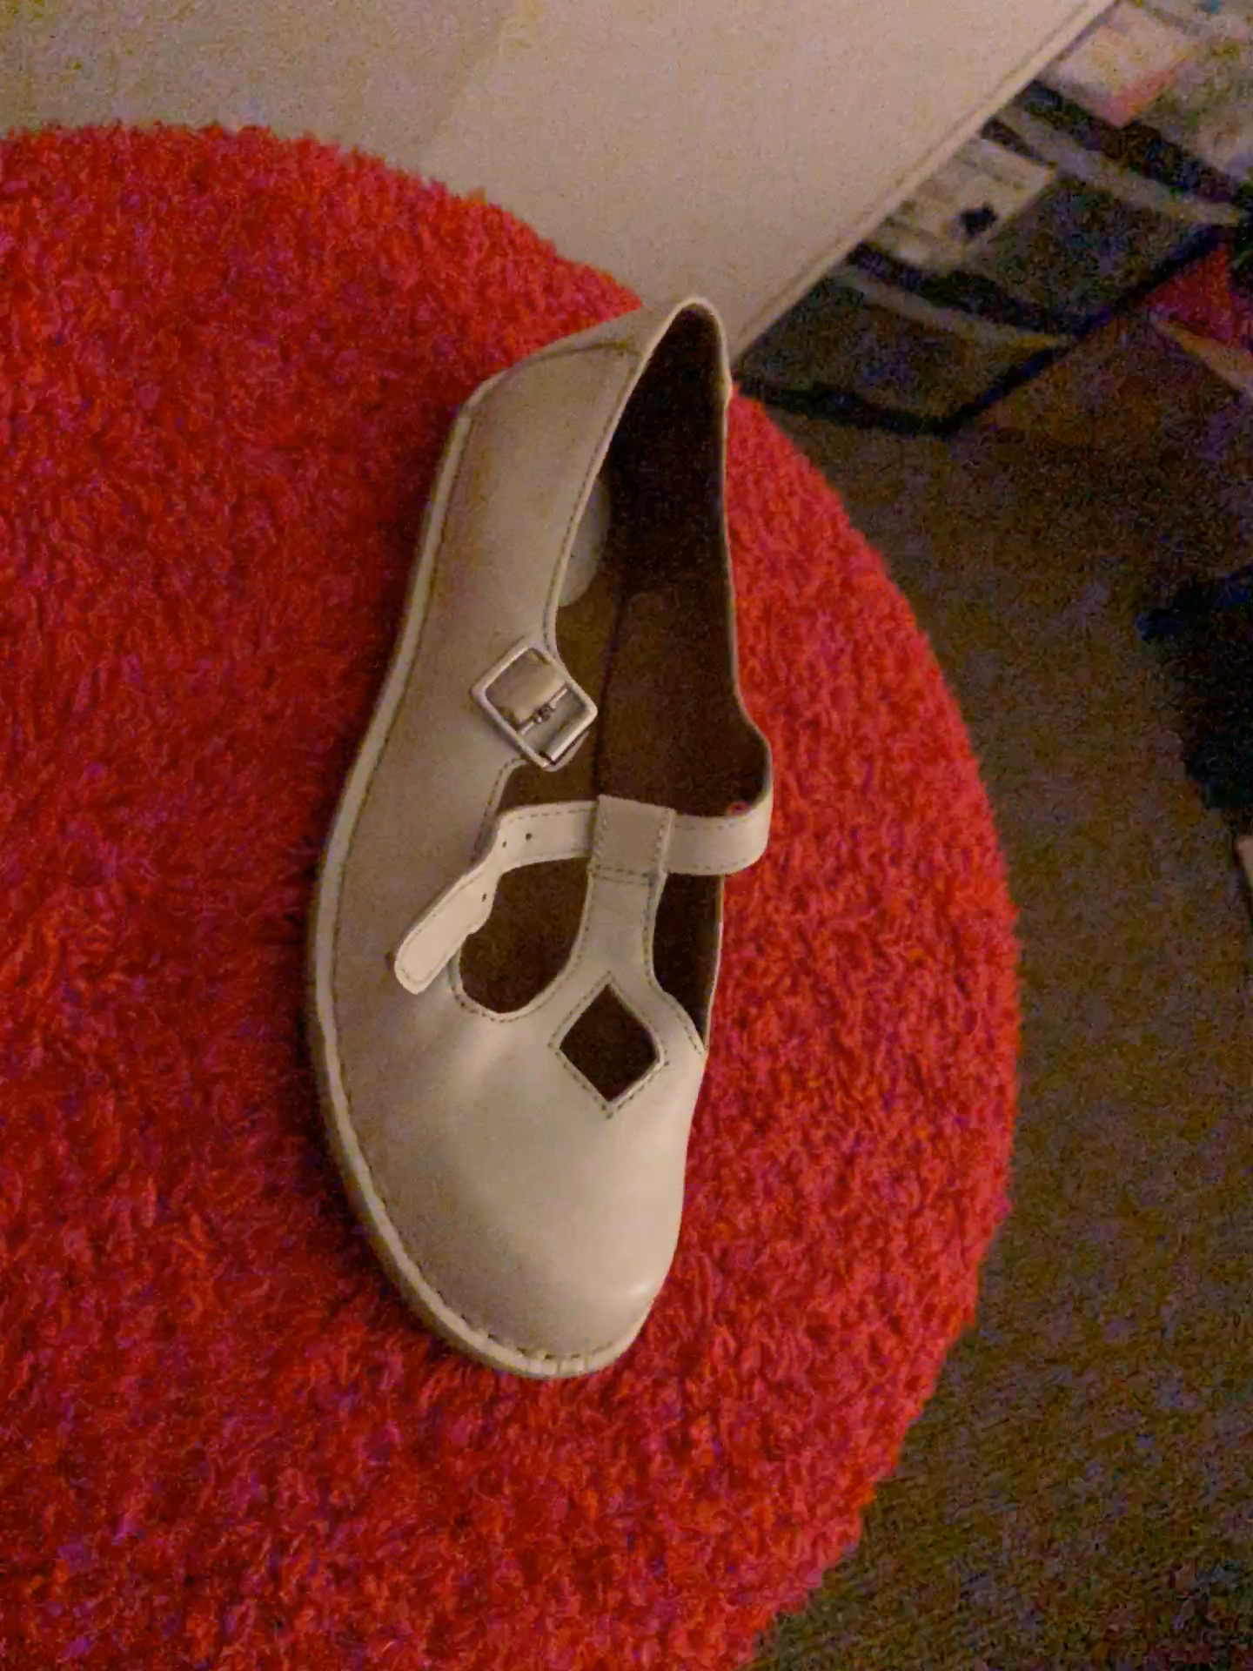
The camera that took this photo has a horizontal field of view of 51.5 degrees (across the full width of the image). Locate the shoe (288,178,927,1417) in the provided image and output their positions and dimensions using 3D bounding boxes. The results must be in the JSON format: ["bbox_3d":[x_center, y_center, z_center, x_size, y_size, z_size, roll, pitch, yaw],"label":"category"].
[{"bbox_3d":[-0.013,-0.008,0.314,0.100,0.089,0.261,10,66,-32],"label":"shoe"}]
